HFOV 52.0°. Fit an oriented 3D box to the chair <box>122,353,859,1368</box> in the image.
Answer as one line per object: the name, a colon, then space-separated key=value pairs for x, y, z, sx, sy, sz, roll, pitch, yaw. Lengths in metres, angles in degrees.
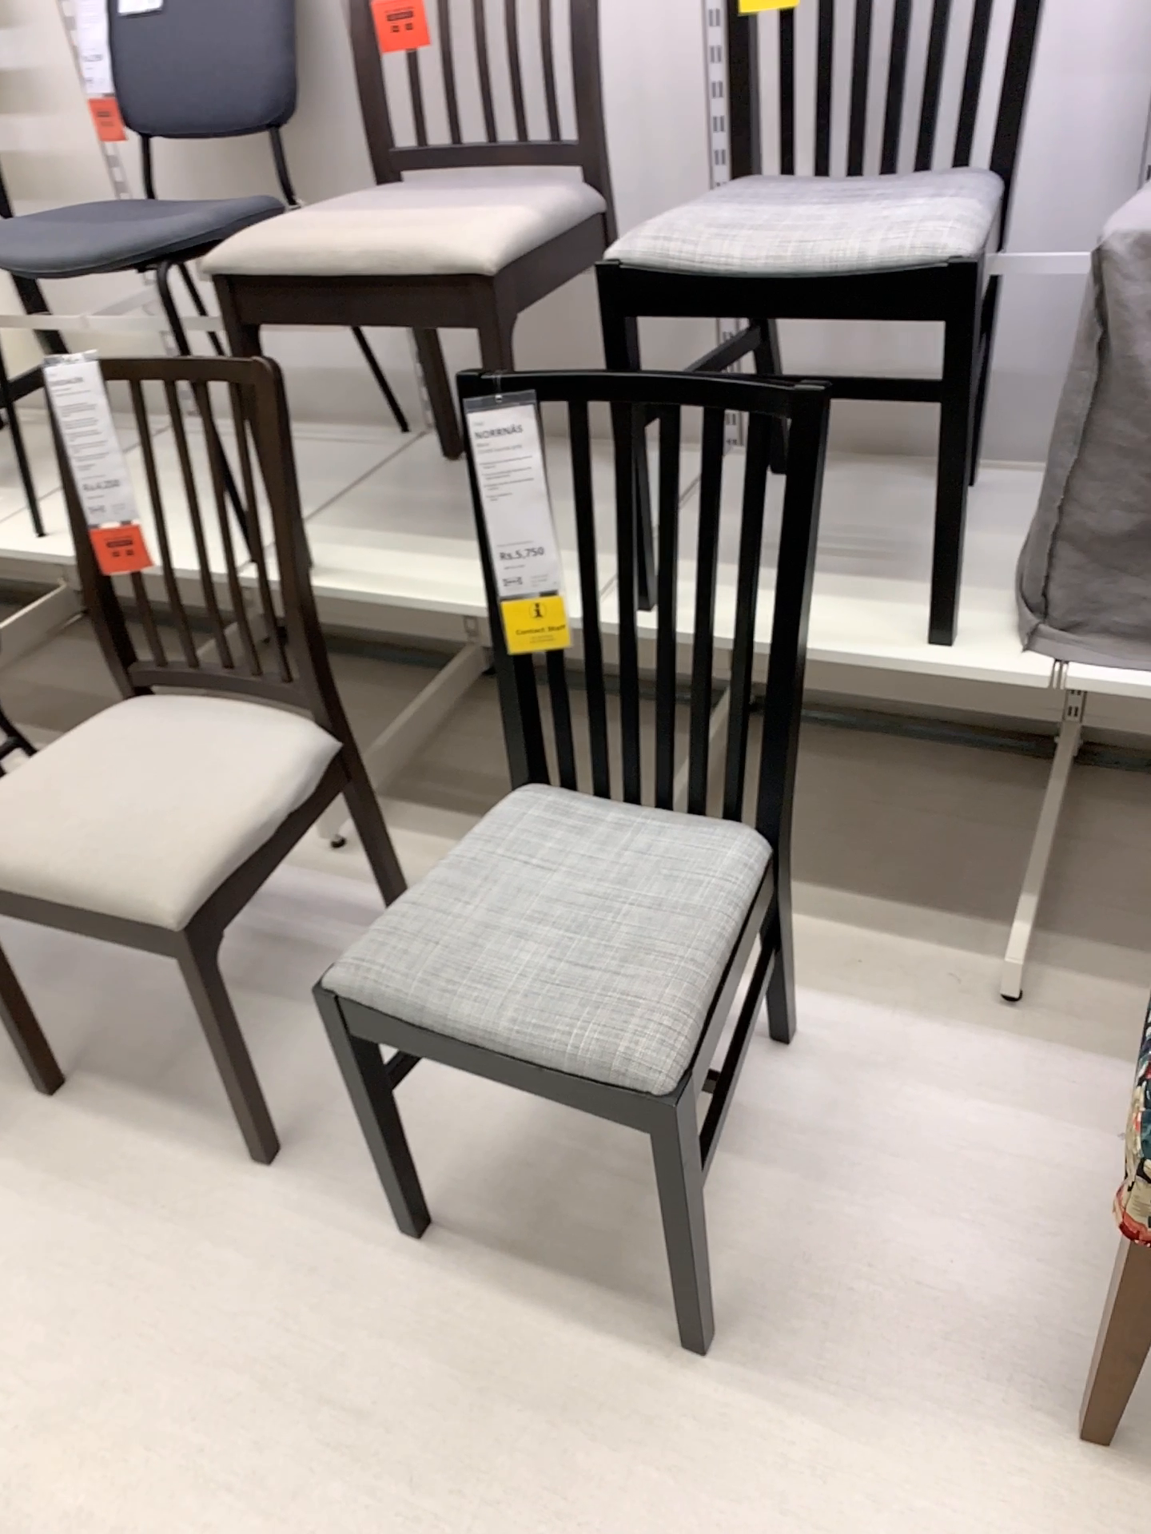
chair: x=0.009 y=0.091 z=1.298 sx=0.441 sy=0.896 sz=0.552 roll=11 pitch=40 yaw=25
